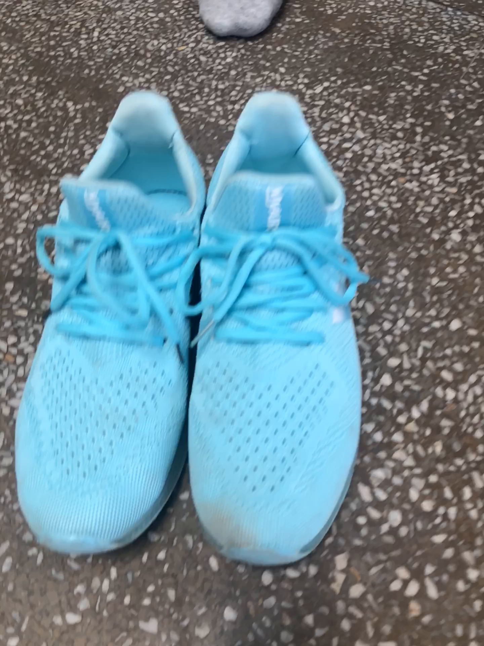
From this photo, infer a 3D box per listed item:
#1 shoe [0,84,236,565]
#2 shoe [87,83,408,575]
[{"bbox_3d":[-0.082,-0.012,0.336,0.120,0.125,0.271,3,56,6],"label":"shoe"},{"bbox_3d":[0.014,-0.009,0.327,0.120,0.125,0.271,2,56,5],"label":"shoe"}]
